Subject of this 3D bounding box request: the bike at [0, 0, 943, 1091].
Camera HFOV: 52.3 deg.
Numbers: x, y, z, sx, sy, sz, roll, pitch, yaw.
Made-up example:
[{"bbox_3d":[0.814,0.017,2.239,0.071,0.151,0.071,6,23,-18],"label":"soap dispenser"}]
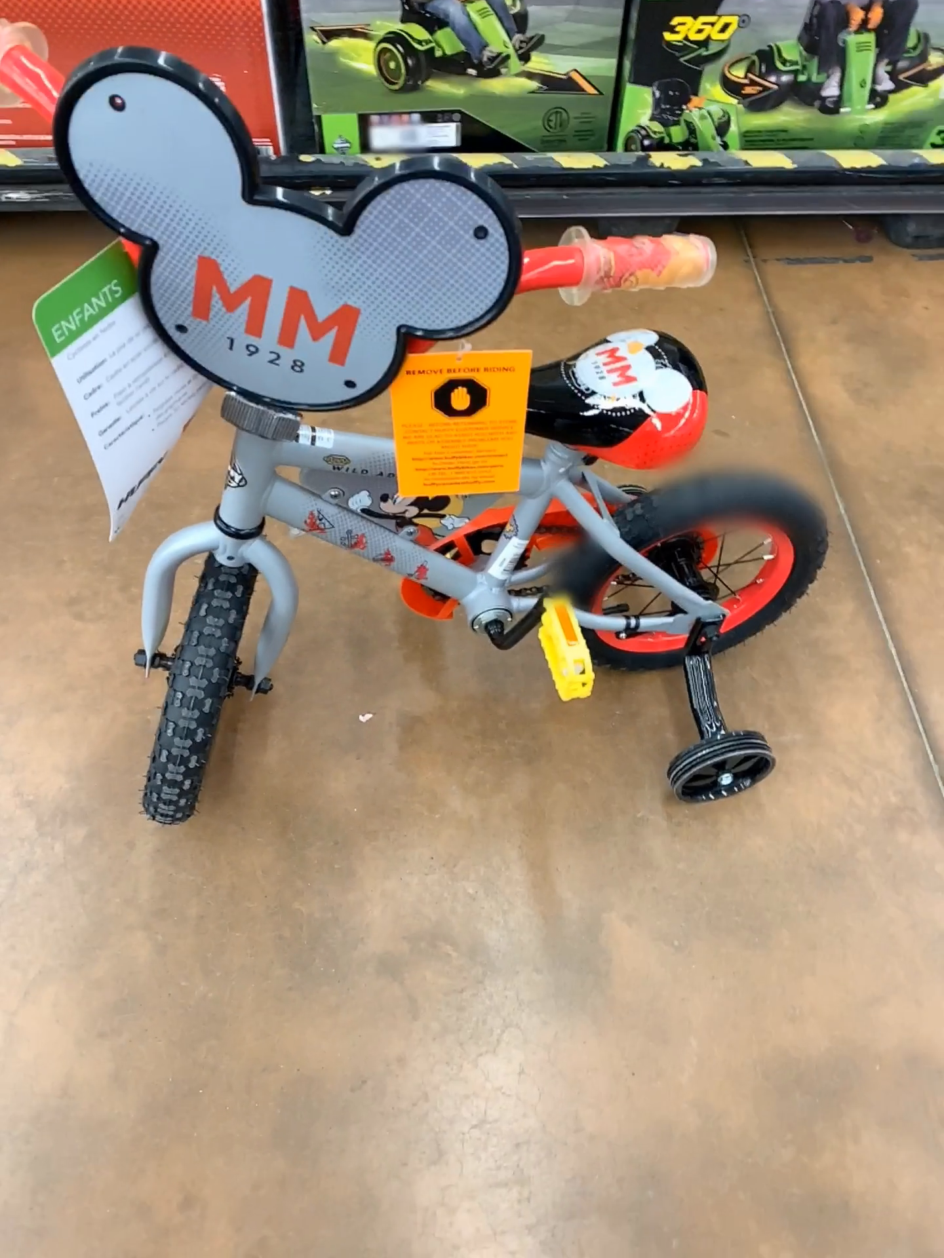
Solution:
[{"bbox_3d":[0.042,-0.079,0.786,0.678,0.741,0.450,-20,56,-13],"label":"bike"}]
